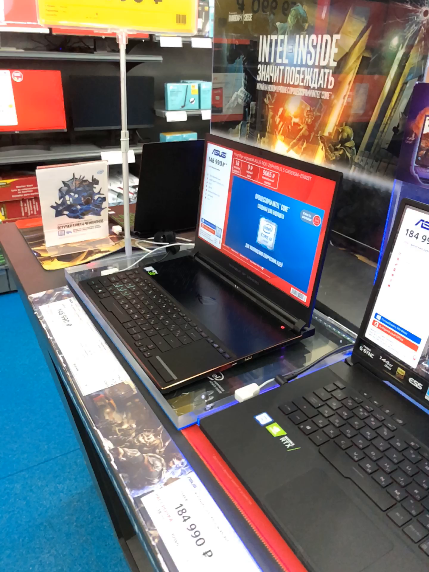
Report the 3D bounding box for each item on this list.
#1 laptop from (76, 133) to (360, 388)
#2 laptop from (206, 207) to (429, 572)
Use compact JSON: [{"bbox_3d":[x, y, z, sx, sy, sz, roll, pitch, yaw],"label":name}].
[{"bbox_3d":[-0.021,-0.079,0.748,0.278,0.241,0.351,-14,31,-27],"label":"laptop"},{"bbox_3d":[0.212,0.097,0.435,0.301,0.219,0.343,-13,29,-24],"label":"laptop"}]
